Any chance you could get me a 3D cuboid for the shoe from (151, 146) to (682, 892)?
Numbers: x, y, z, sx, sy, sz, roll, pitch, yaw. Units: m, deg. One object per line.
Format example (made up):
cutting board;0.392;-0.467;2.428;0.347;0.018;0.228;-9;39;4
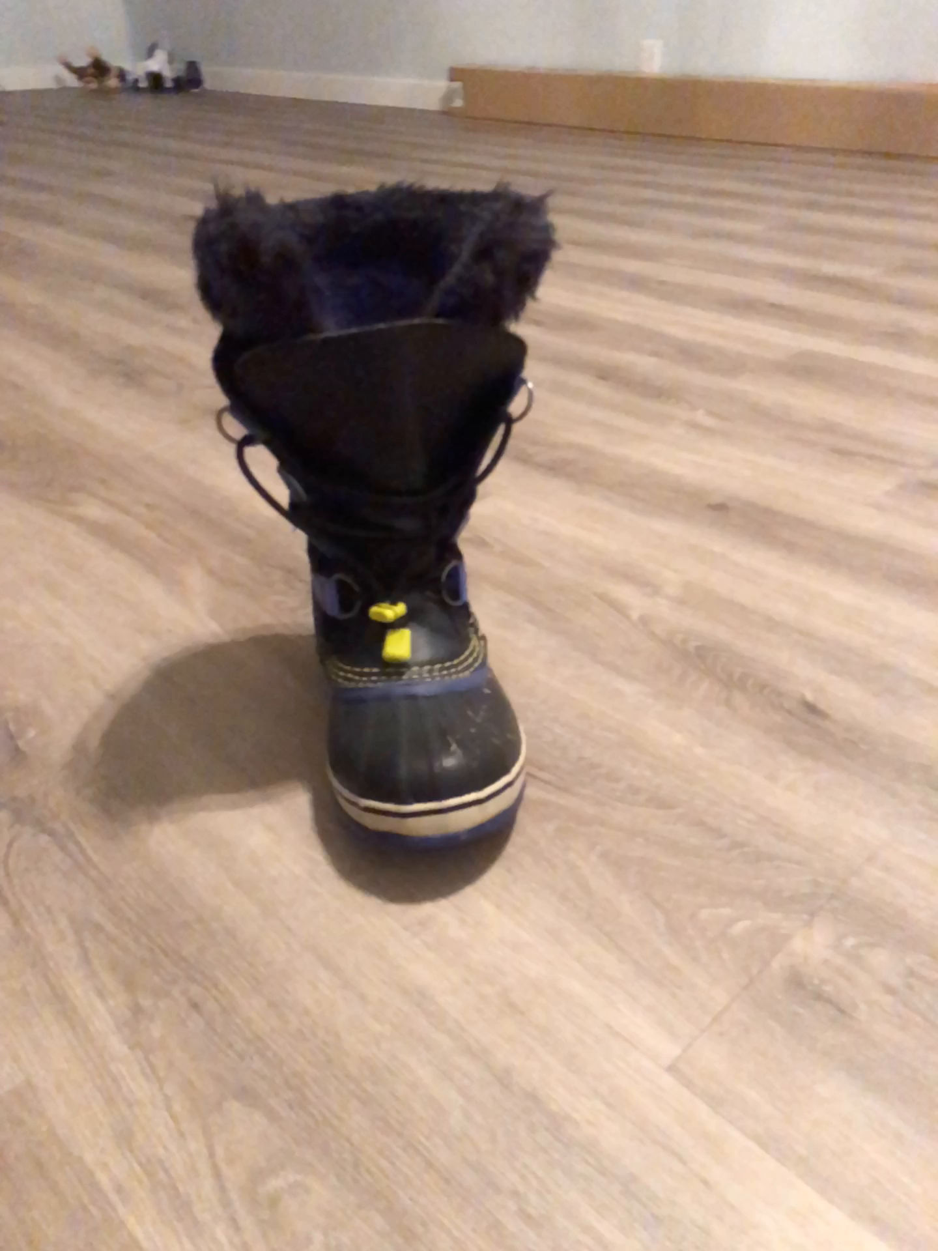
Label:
shoe;-0.033;-0.068;0.497;0.170;0.269;0.241;-6;31;-8
